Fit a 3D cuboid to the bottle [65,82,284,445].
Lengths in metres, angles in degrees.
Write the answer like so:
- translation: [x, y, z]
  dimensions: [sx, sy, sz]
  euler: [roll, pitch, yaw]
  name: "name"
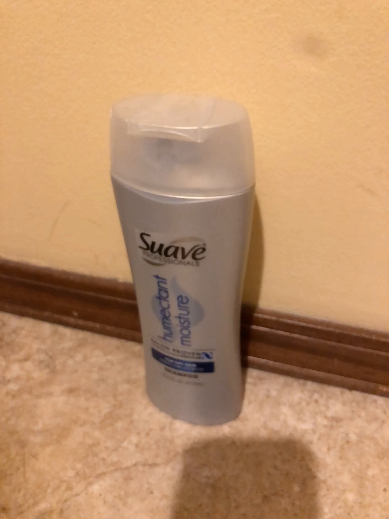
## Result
- translation: [-0.004, 0.018, 0.250]
  dimensions: [0.080, 0.210, 0.050]
  euler: [9, 40, 13]
  name: "bottle"
